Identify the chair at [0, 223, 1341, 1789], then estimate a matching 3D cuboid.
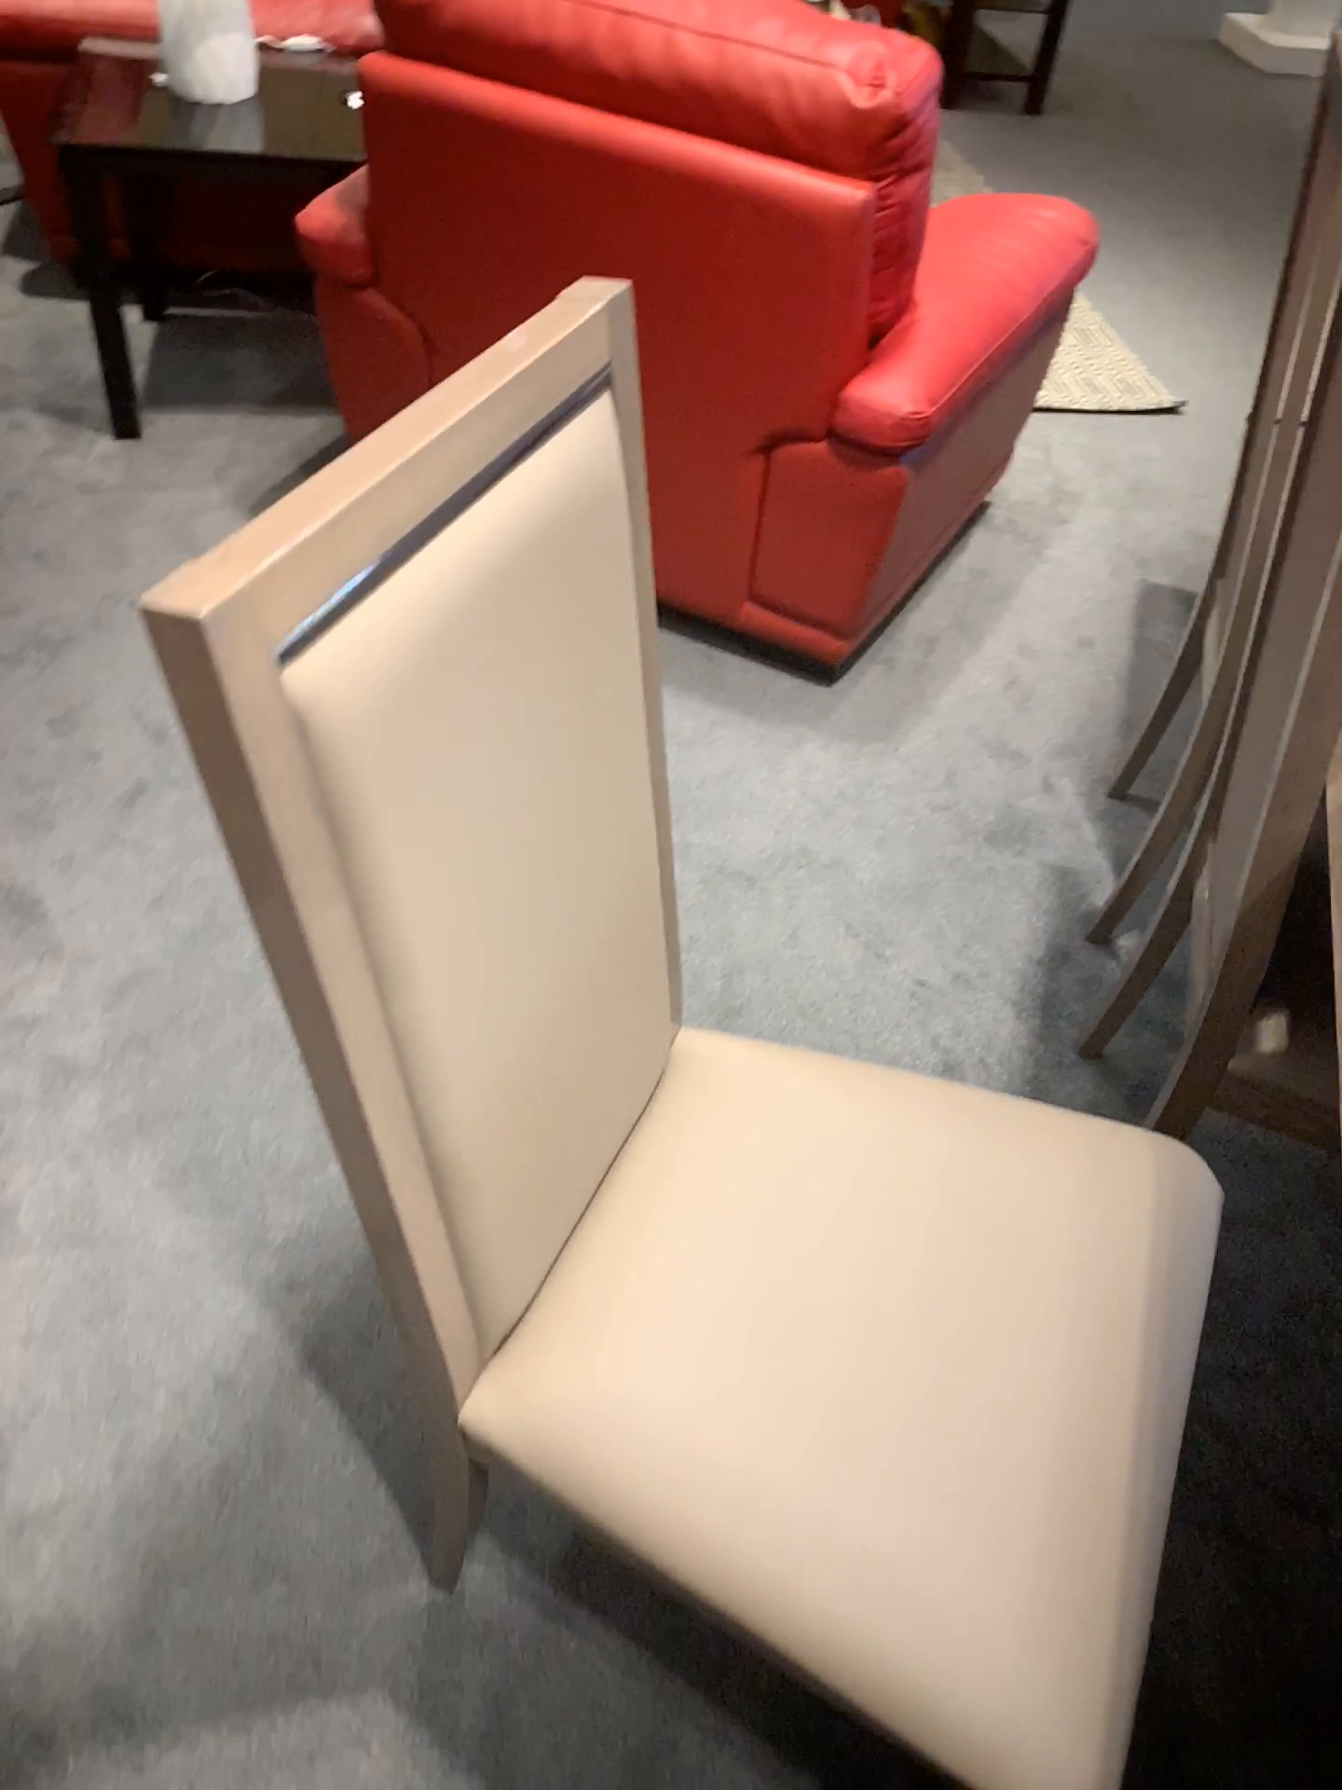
[{"bbox_3d":[0.097,0.197,0.900,0.582,0.977,0.502,19,45,17],"label":"chair"}]
